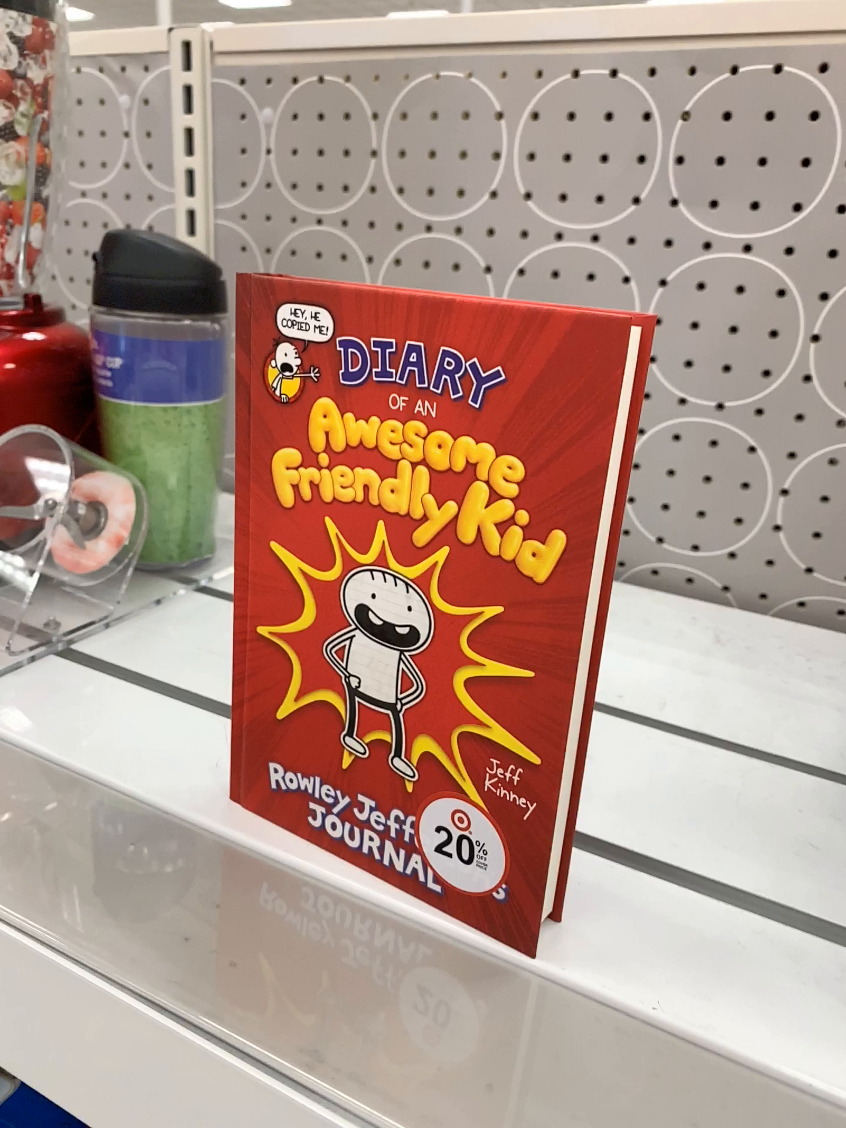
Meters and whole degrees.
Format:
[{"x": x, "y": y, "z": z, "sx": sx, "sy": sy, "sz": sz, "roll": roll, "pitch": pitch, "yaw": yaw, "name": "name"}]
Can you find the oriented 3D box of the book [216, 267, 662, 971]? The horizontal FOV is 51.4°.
[{"x": -0.008, "y": 0.014, "z": 0.301, "sx": 0.140, "sy": 0.209, "sz": 0.030, "roll": 15, "pitch": 21, "yaw": 29, "name": "book"}]
